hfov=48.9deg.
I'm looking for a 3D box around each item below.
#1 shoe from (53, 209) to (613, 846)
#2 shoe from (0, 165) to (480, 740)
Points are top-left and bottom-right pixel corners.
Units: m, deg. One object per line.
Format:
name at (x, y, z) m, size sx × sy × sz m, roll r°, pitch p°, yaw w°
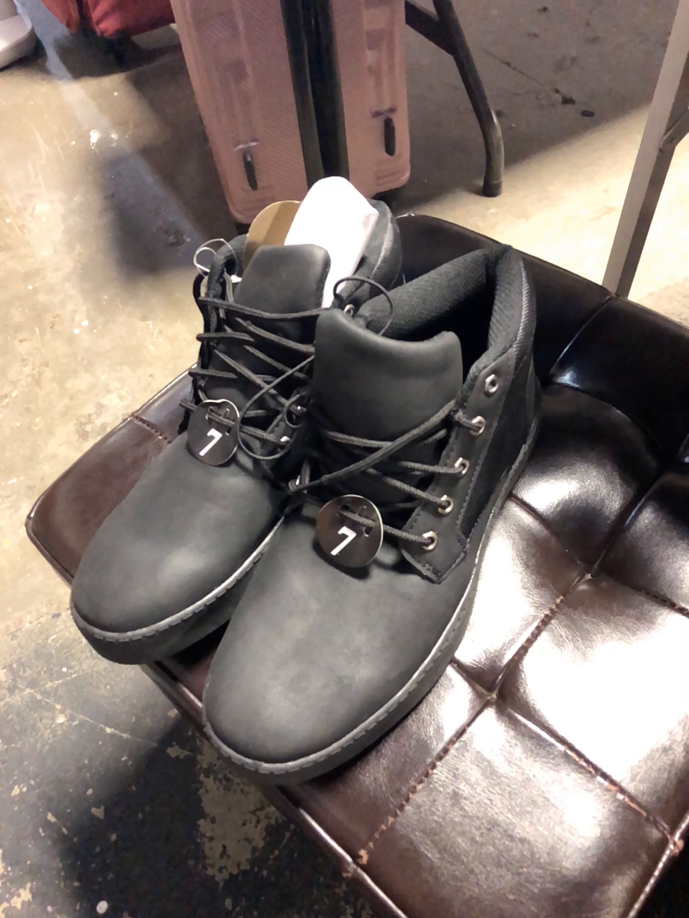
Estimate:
shoe at (0.013, 0.025, 0.332) m, size 0.100 × 0.139 × 0.221 m, roll 26°, pitch 61°, yaw 21°
shoe at (-0.038, -0.012, 0.402) m, size 0.100 × 0.139 × 0.261 m, roll 26°, pitch 61°, yaw 21°
